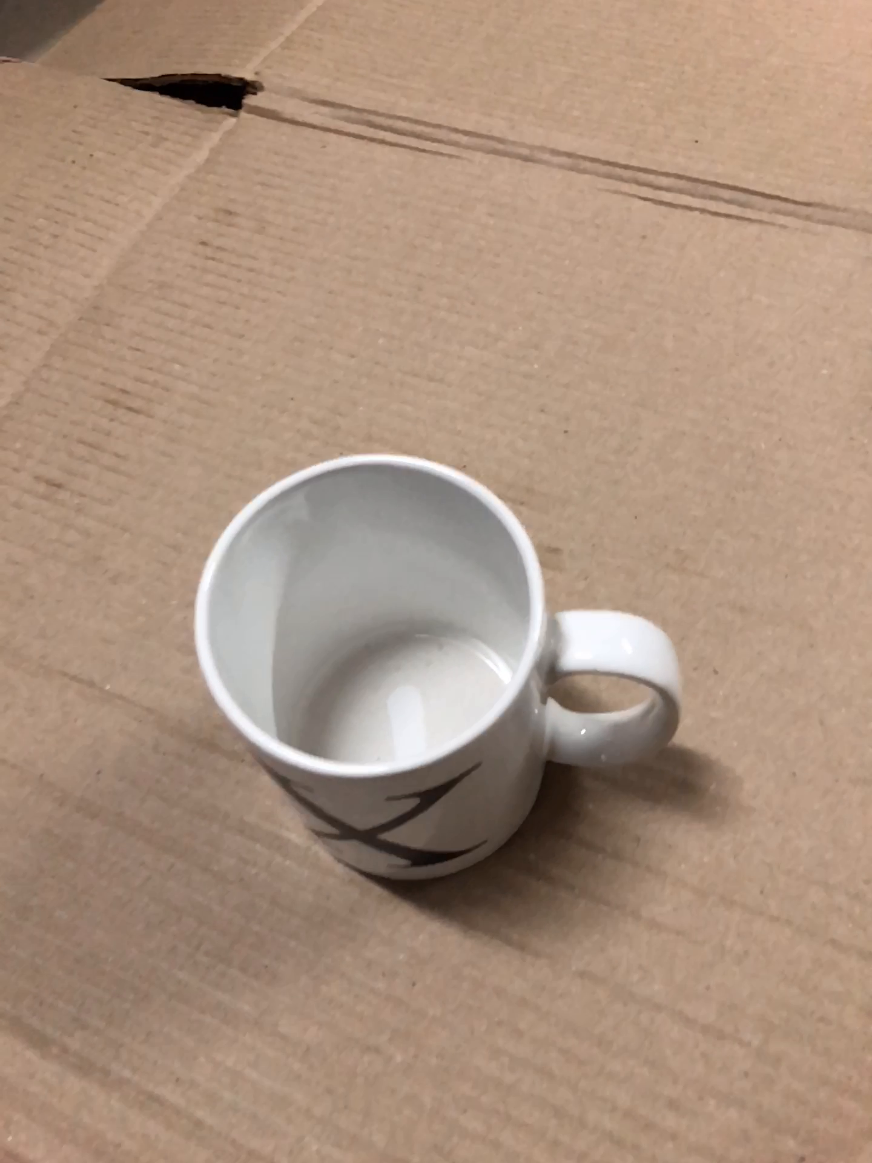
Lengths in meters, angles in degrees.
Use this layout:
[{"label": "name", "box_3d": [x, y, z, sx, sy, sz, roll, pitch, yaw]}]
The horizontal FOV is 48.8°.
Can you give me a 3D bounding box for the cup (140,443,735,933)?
[{"label": "cup", "box_3d": [0.006, 0.028, 0.235, 0.110, 0.090, 0.080, 3, 56, 7]}]
